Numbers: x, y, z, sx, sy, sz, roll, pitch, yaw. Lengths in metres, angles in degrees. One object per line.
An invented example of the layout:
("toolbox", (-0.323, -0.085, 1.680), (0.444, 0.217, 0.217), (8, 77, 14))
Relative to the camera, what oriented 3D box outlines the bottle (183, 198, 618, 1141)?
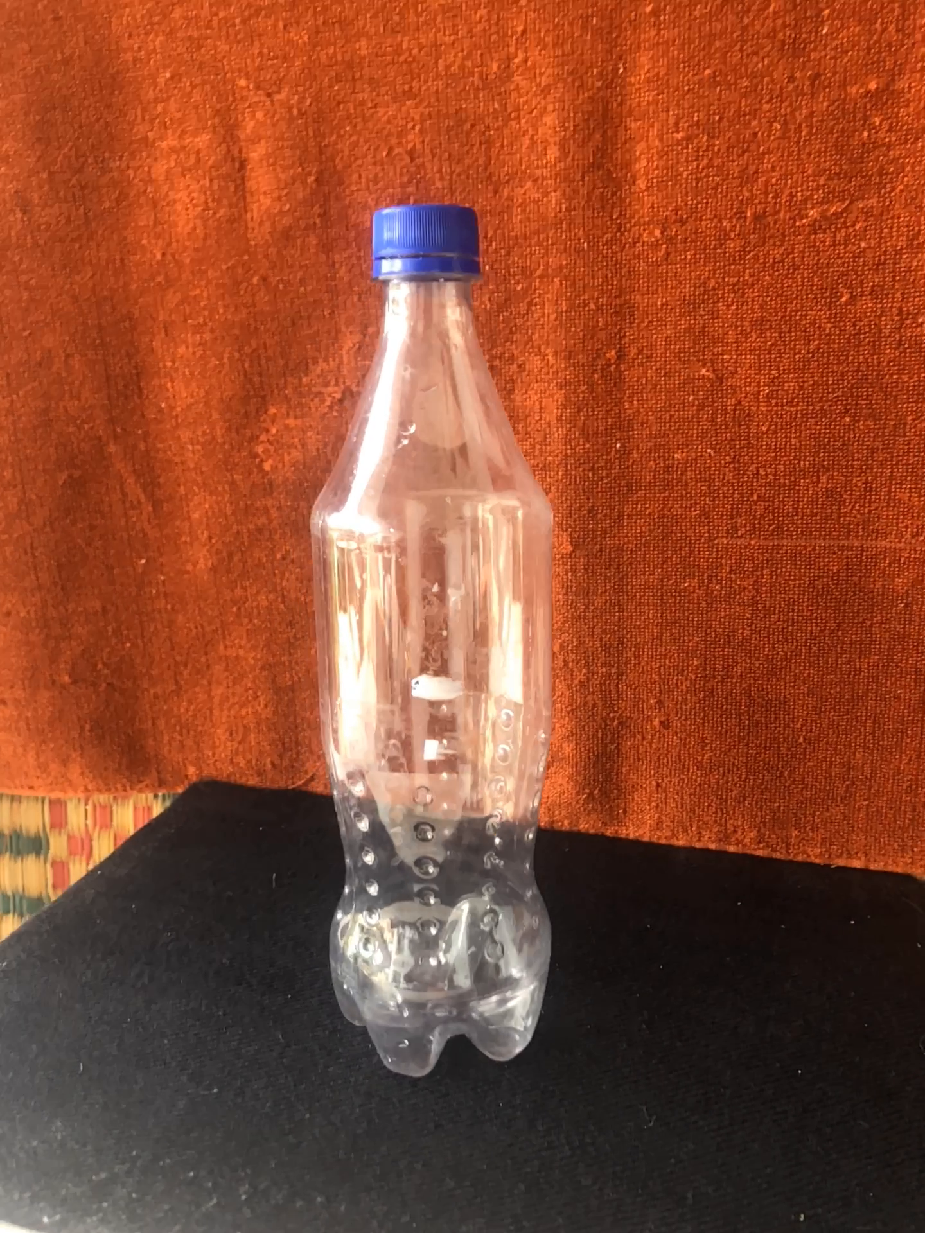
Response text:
("bottle", (-0.014, 0.011, 0.311), (0.080, 0.249, 0.090), (-15, 21, -35))
